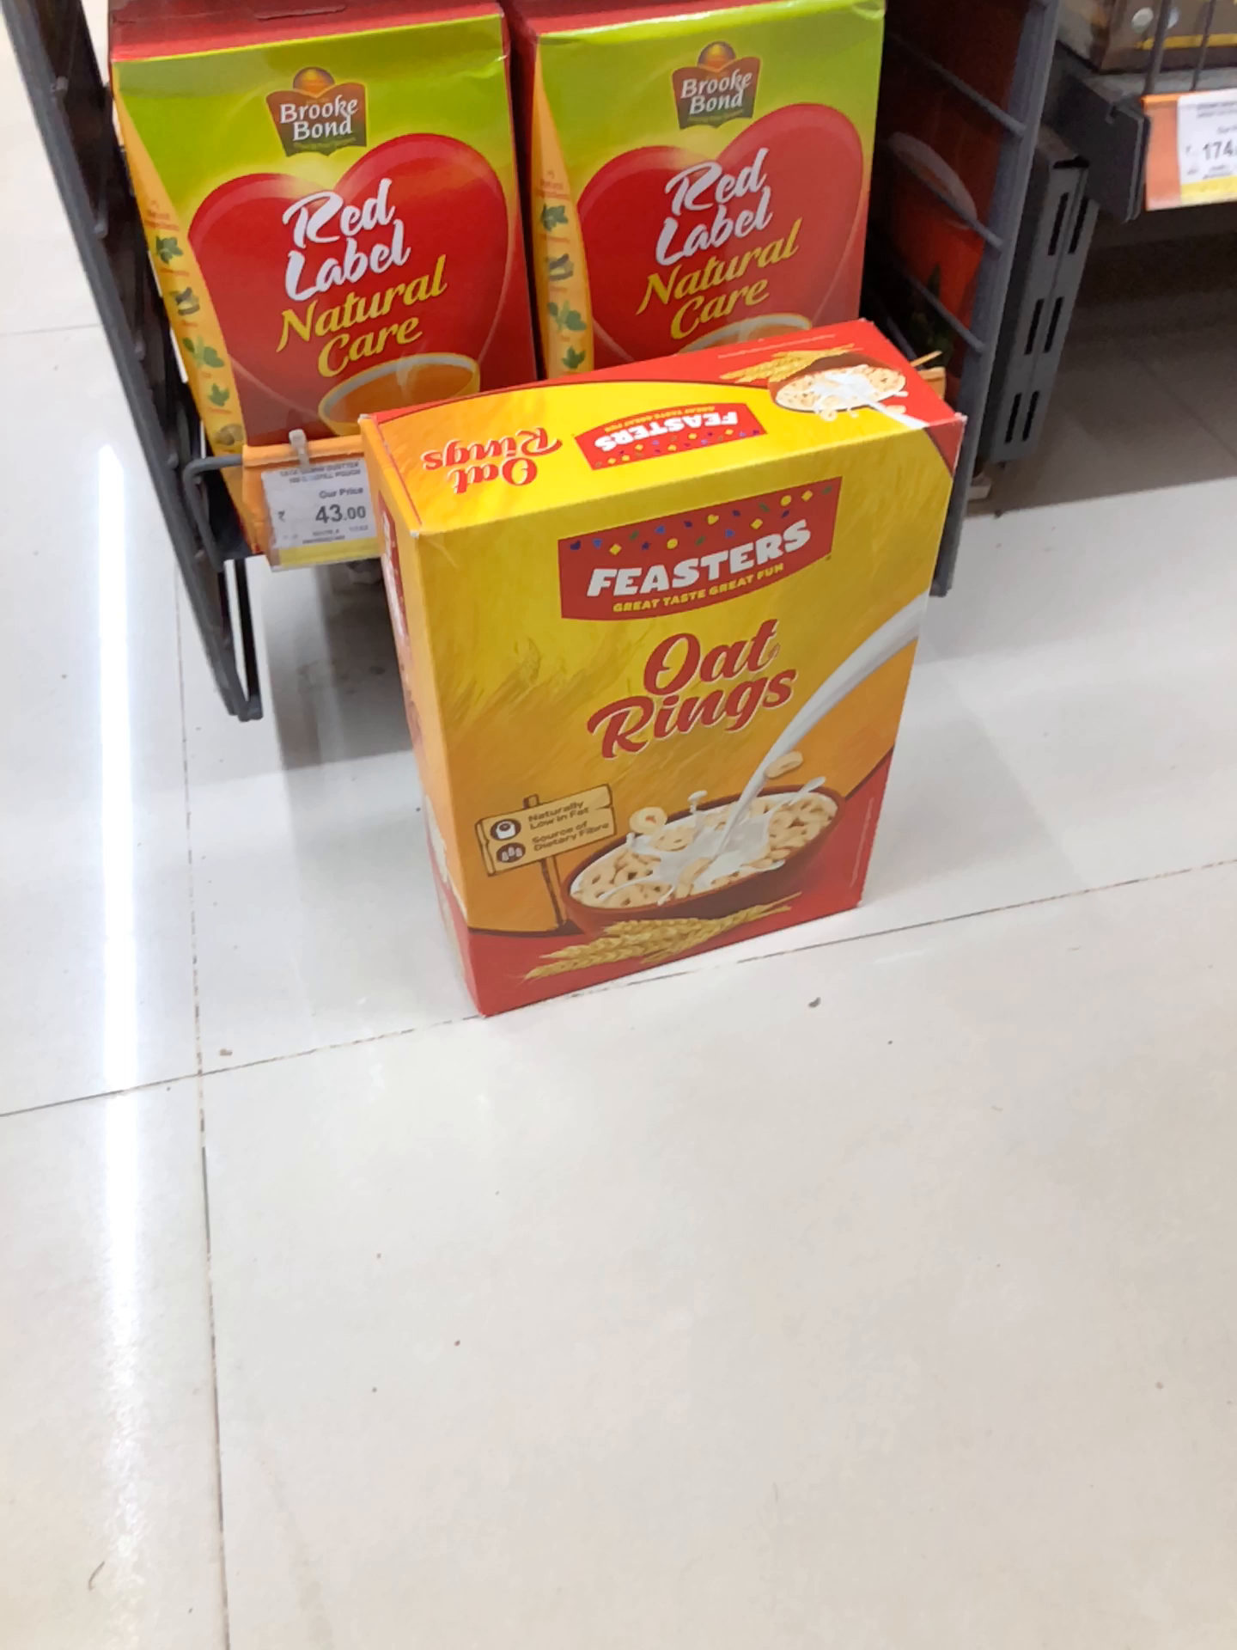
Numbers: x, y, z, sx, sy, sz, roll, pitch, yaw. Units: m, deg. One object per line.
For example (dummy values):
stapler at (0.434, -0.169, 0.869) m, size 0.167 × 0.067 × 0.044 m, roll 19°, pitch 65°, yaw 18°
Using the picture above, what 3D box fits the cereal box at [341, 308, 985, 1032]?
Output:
cereal box at (0.013, -0.043, 0.470) m, size 0.170 × 0.219 × 0.070 m, roll -15°, pitch 49°, yaw -13°

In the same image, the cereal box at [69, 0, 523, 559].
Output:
cereal box at (-0.107, -0.197, 0.484) m, size 0.120 × 0.169 × 0.080 m, roll -12°, pitch 48°, yaw -11°

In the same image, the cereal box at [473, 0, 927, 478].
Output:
cereal box at (0.024, -0.220, 0.481) m, size 0.120 × 0.149 × 0.080 m, roll -16°, pitch 49°, yaw -14°
